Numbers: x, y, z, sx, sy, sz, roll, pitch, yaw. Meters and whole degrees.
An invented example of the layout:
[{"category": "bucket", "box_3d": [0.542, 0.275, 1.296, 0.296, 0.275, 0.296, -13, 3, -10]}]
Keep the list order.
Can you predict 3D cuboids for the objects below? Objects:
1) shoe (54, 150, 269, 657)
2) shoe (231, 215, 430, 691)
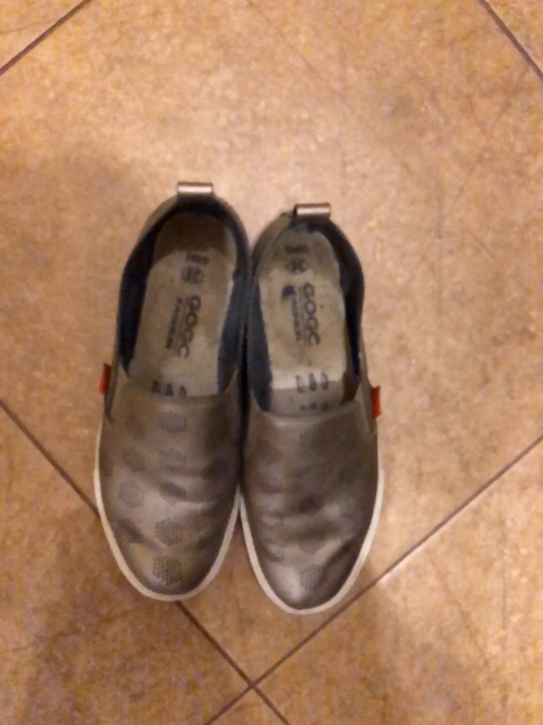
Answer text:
[{"category": "shoe", "box_3d": [-0.059, 0.022, 0.356, 0.090, 0.100, 0.250, 4, 92, -4]}, {"category": "shoe", "box_3d": [0.027, 0.044, 0.363, 0.100, 0.110, 0.240, 0, 93, -4]}]
